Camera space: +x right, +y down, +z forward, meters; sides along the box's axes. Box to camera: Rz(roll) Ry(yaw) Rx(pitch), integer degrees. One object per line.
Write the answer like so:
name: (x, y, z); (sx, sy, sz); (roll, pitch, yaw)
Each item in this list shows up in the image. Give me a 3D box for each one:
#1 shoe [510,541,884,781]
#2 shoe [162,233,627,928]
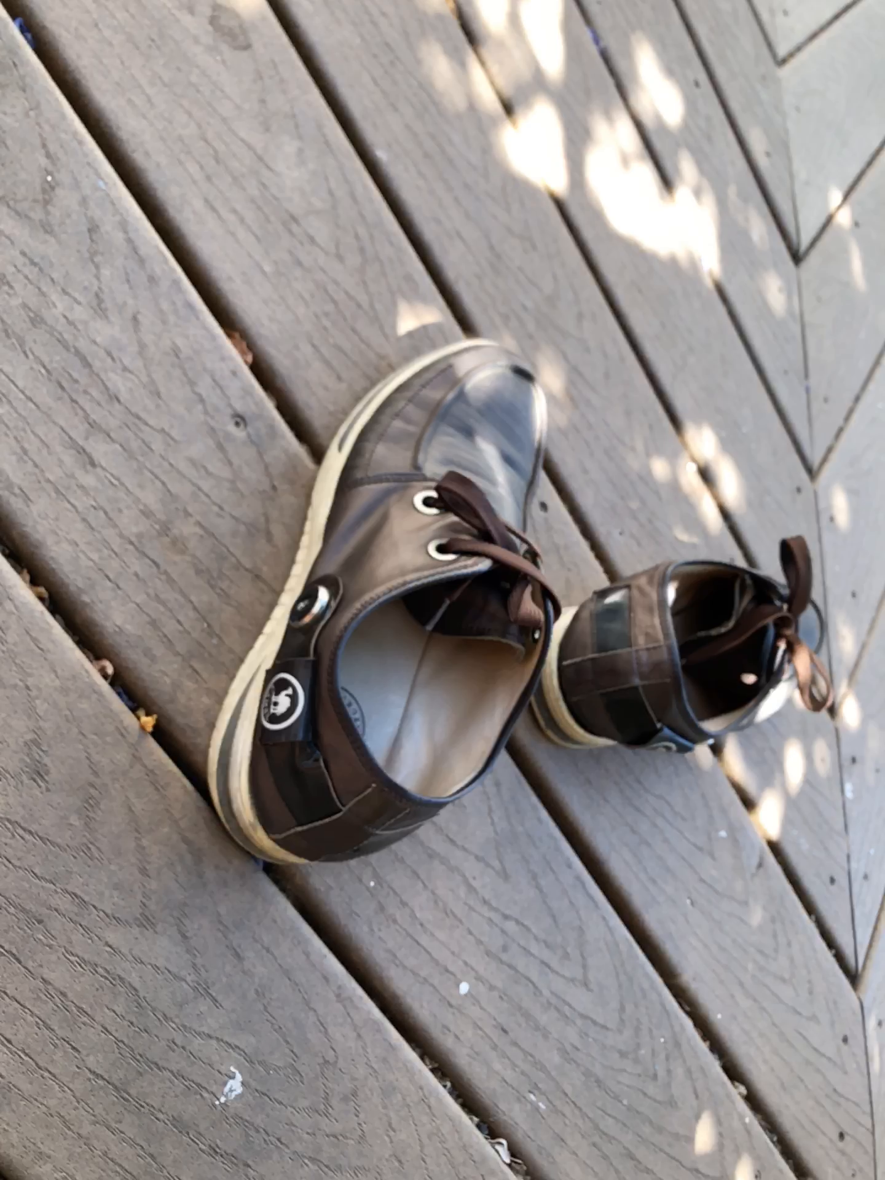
shoe: (0.181, 0.037, 0.597); (0.287, 0.099, 0.110); (-2, 82, -44)
shoe: (-0.005, -0.012, 0.445); (0.111, 0.069, 0.286); (38, 57, -32)
